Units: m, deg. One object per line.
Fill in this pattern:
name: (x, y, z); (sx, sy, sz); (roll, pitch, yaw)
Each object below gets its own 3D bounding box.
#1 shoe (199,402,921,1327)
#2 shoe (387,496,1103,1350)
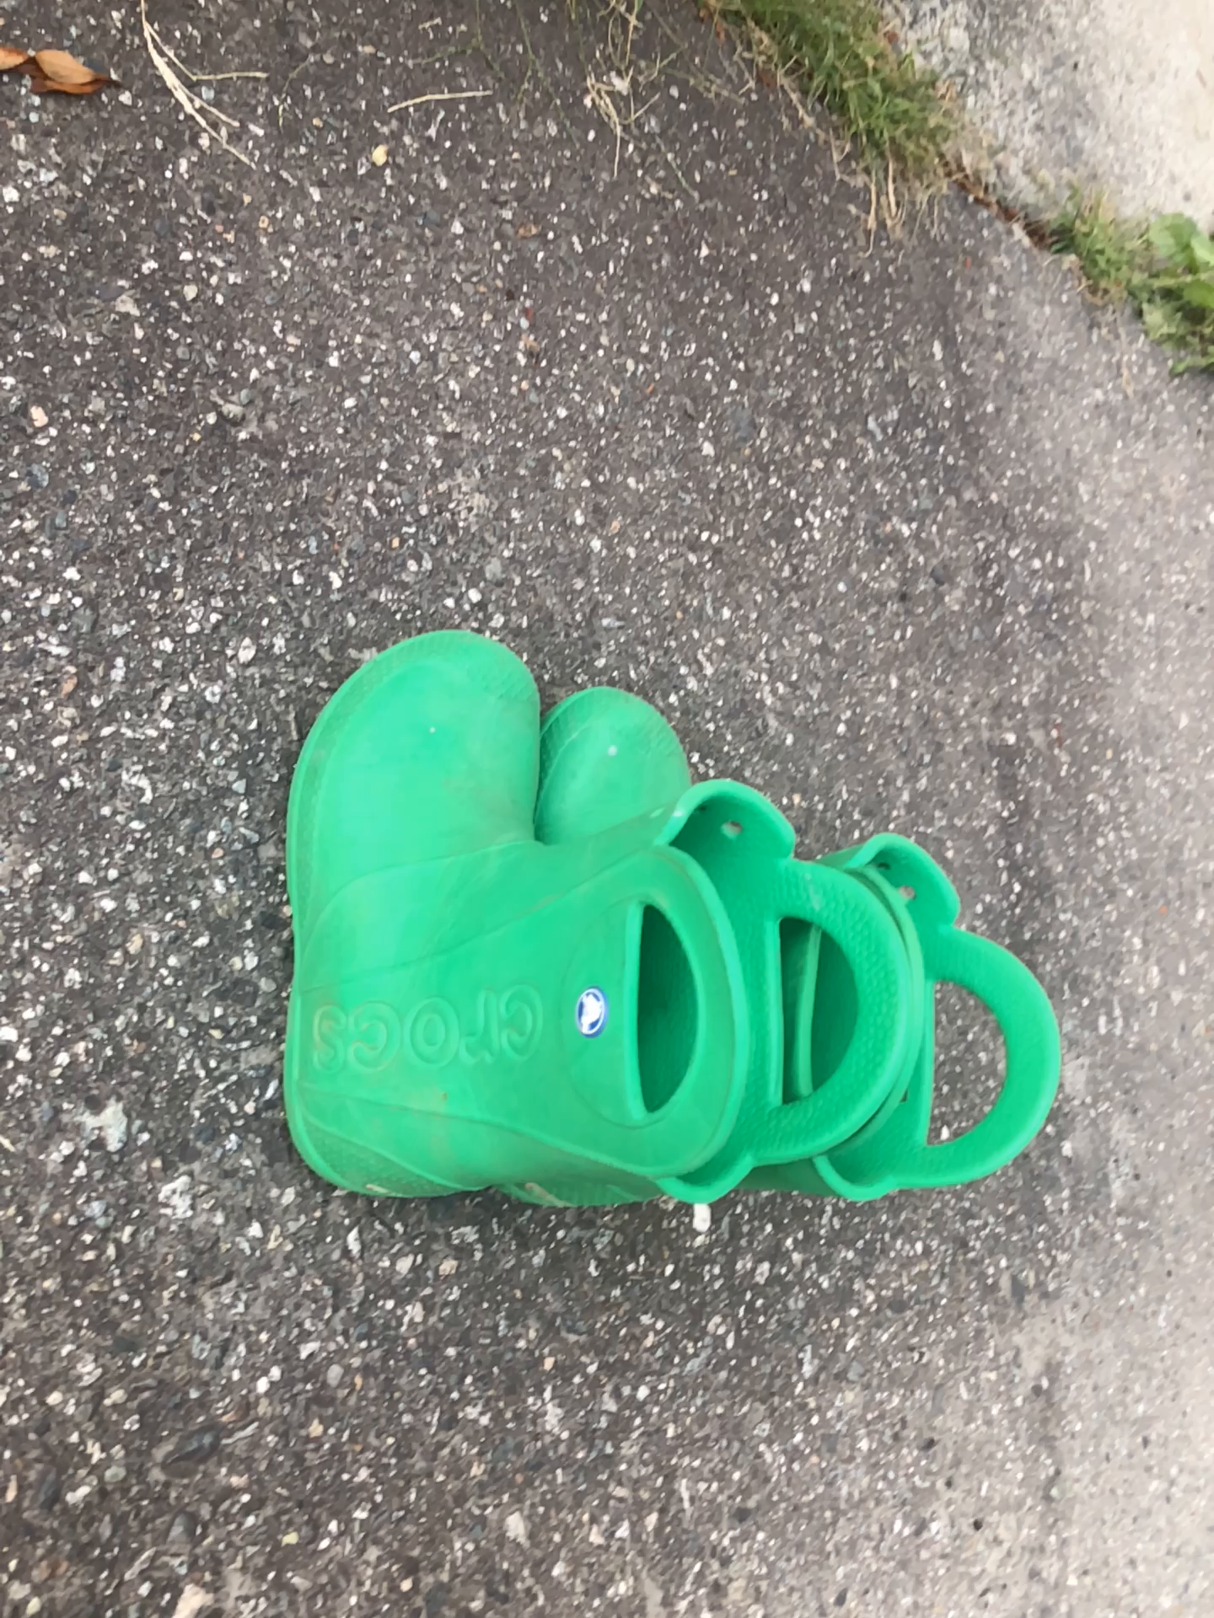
shoe: (-0.024, 0.028, 0.474); (0.110, 0.229, 0.250); (16, 74, -38)
shoe: (0.046, 0.049, 0.533); (0.110, 0.259, 0.260); (16, 74, -38)
